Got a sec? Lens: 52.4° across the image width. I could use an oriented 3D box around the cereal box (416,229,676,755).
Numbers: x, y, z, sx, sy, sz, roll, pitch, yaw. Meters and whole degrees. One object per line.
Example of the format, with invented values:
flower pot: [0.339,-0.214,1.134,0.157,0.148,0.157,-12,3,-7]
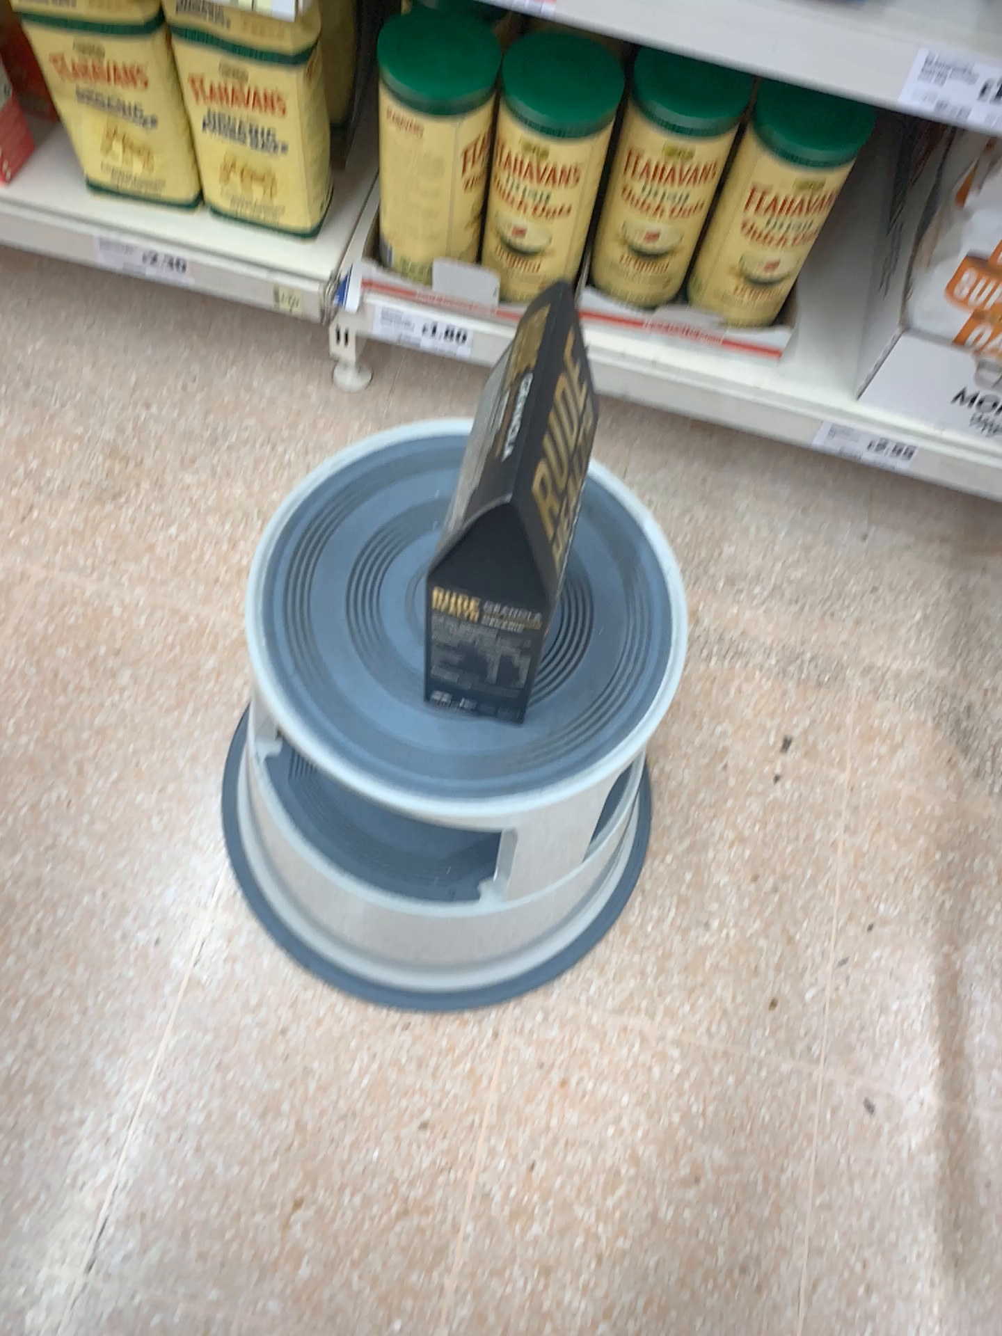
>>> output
cereal box: [0.012,-0.069,0.533,0.070,0.259,0.141,14,65,-1]
